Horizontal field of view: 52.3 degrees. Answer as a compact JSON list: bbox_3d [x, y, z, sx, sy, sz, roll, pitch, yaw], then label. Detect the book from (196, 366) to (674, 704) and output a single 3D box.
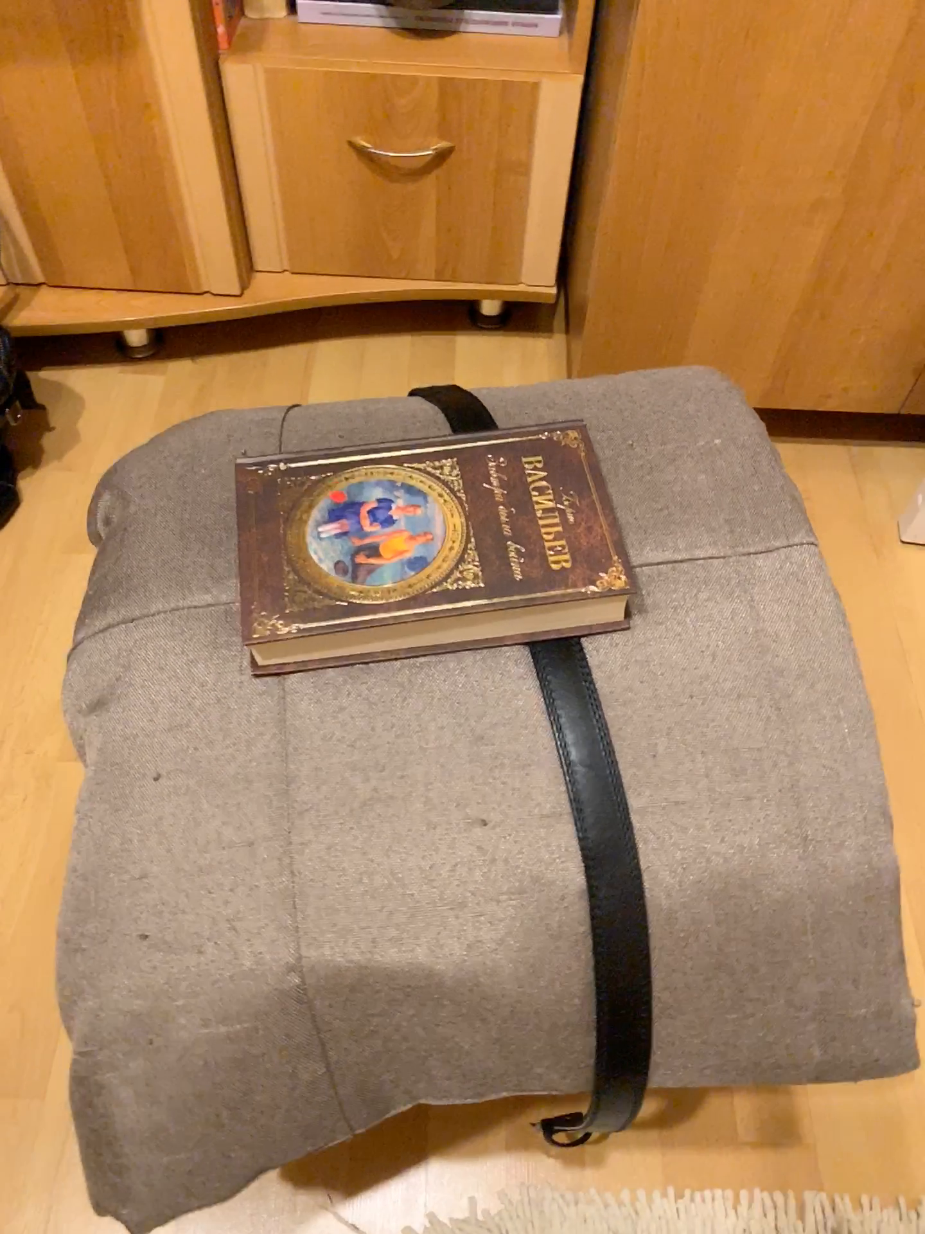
[{"bbox_3d":[-0.021,-0.047,0.489,0.220,0.050,0.141,-10,56,-2],"label":"book"}]
